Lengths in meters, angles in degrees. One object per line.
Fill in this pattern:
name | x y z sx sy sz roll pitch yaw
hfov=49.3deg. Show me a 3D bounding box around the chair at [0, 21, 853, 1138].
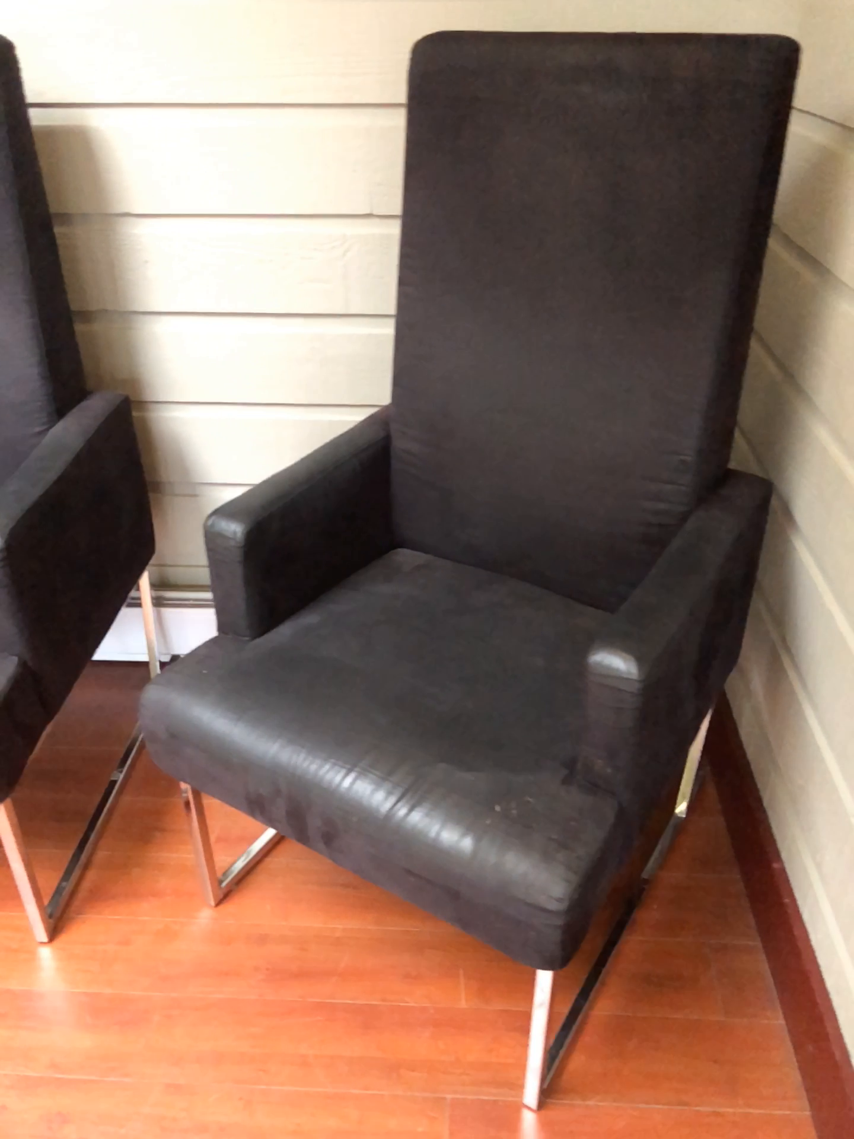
chair | 0.040 -0.061 1.180 0.632 1.082 0.703 18 35 28
